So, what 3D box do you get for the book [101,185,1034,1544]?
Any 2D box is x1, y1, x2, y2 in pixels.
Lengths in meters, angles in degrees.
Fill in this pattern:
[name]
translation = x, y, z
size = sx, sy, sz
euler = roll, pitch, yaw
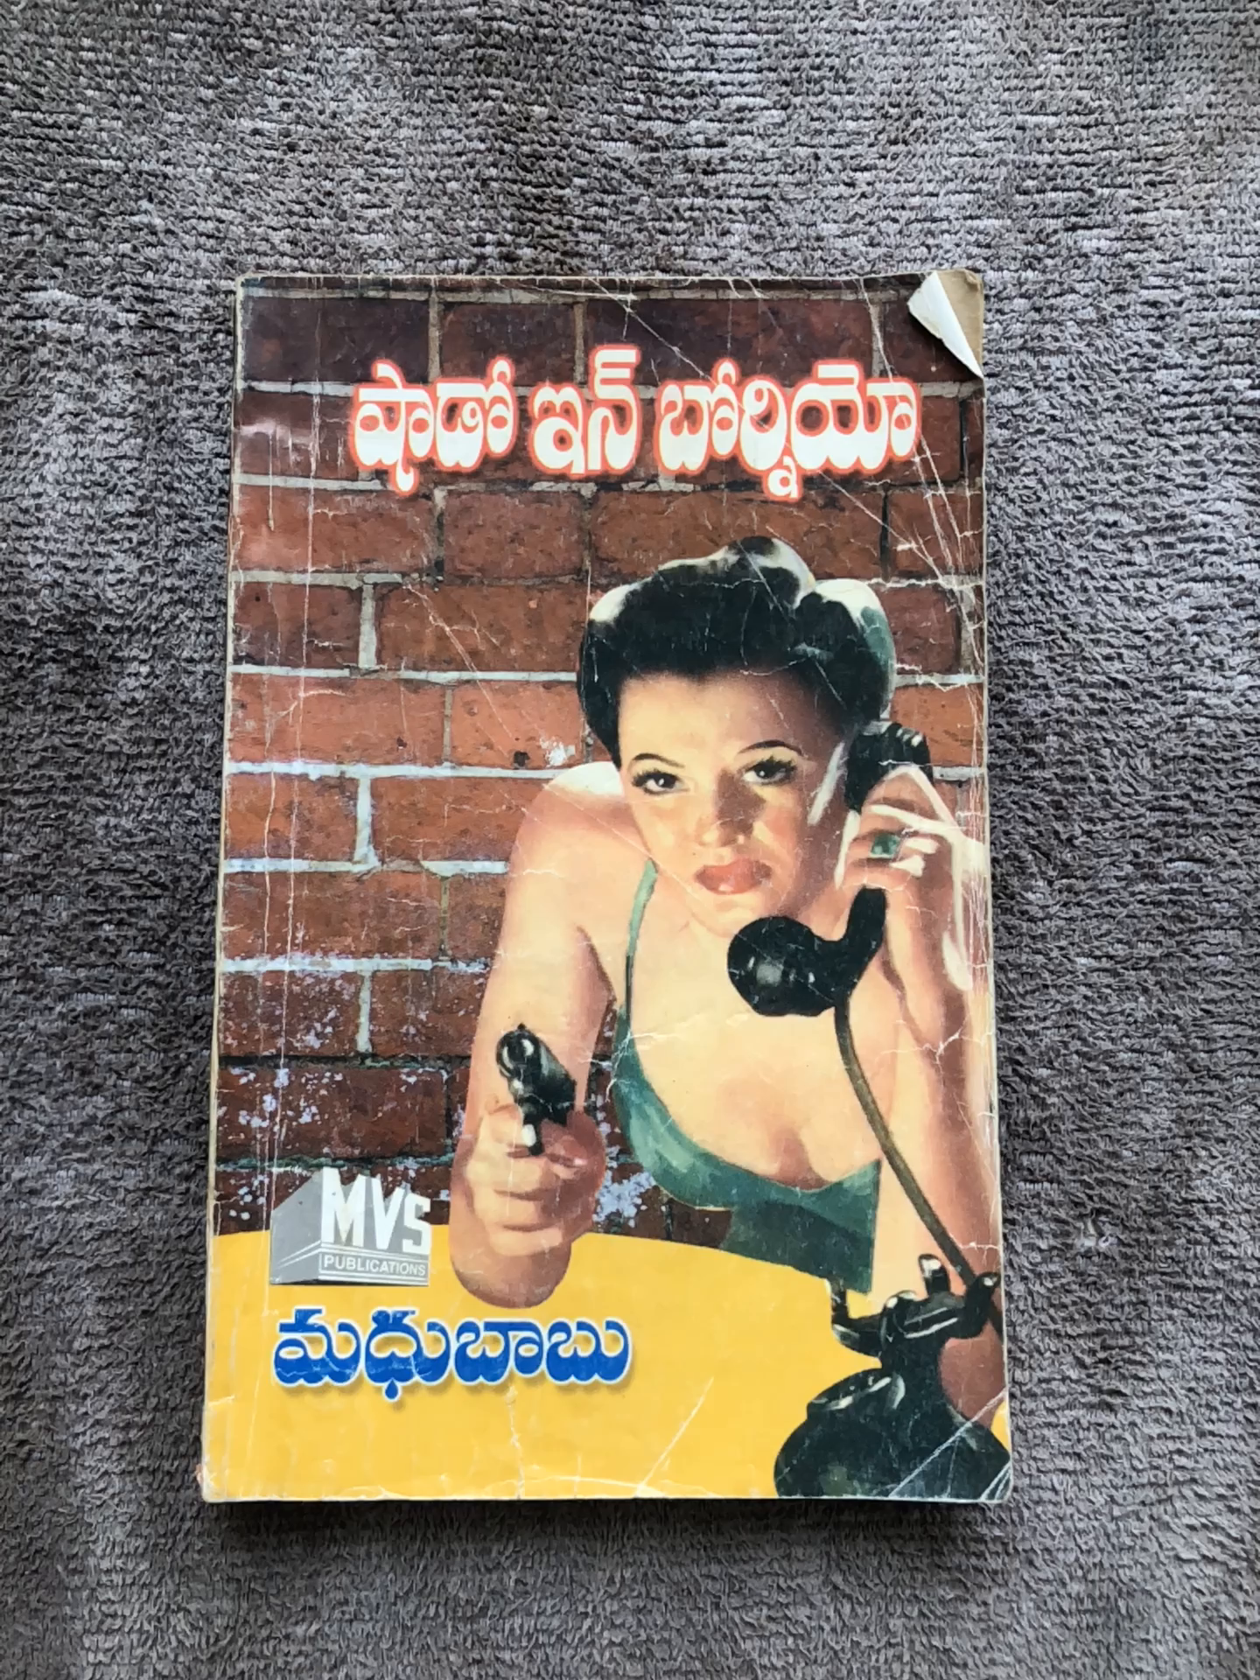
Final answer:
[book]
translation = -0.006, 0.002, 0.178
size = 0.100, 0.040, 0.150
euler = 1, 85, -3
